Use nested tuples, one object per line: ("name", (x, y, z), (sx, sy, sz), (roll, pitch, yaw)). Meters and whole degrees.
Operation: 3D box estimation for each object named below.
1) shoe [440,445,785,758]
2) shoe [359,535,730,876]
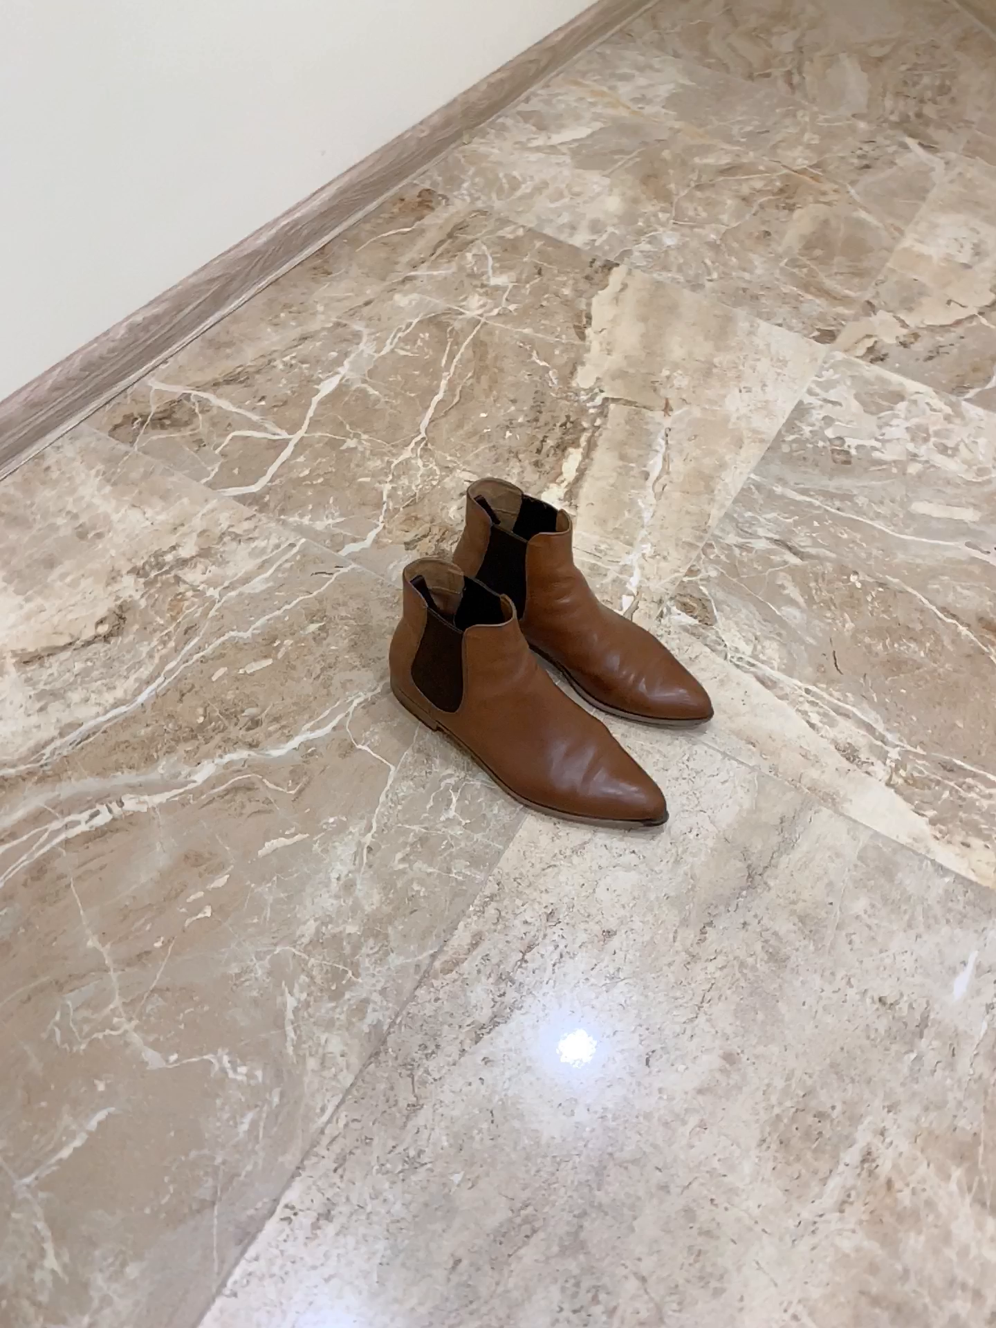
("shoe", (0.082, -0.053, 0.823), (0.250, 0.119, 0.090), (32, 56, 17))
("shoe", (0.025, 0.030, 0.761), (0.250, 0.129, 0.090), (29, 55, 15))
